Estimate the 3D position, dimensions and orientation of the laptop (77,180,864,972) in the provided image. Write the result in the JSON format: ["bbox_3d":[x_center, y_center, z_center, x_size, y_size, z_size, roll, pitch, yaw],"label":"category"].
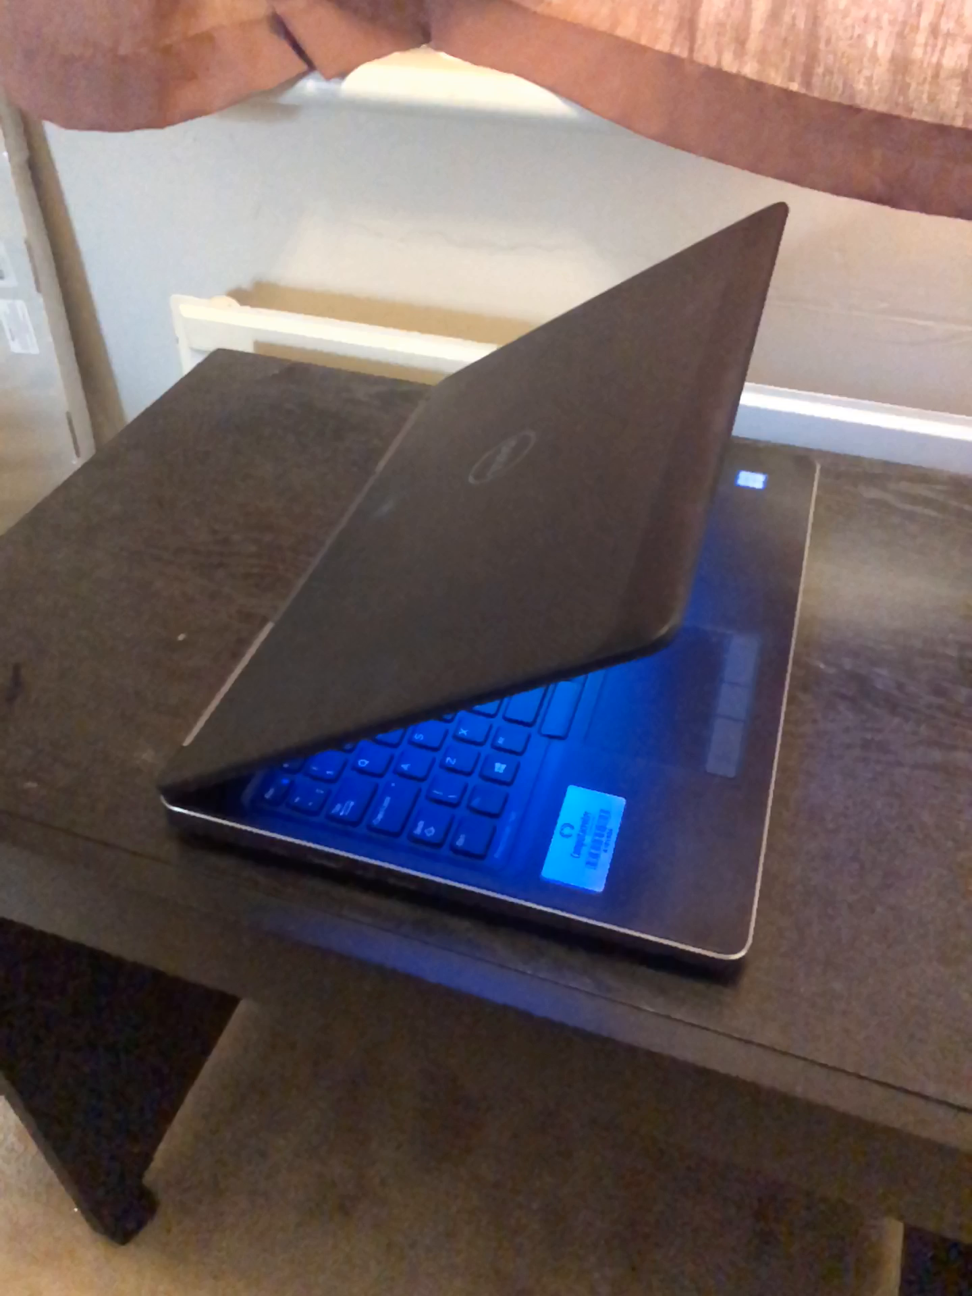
[{"bbox_3d":[0.029,-0.077,0.506,0.243,0.134,0.364,12,43,14],"label":"laptop"}]
